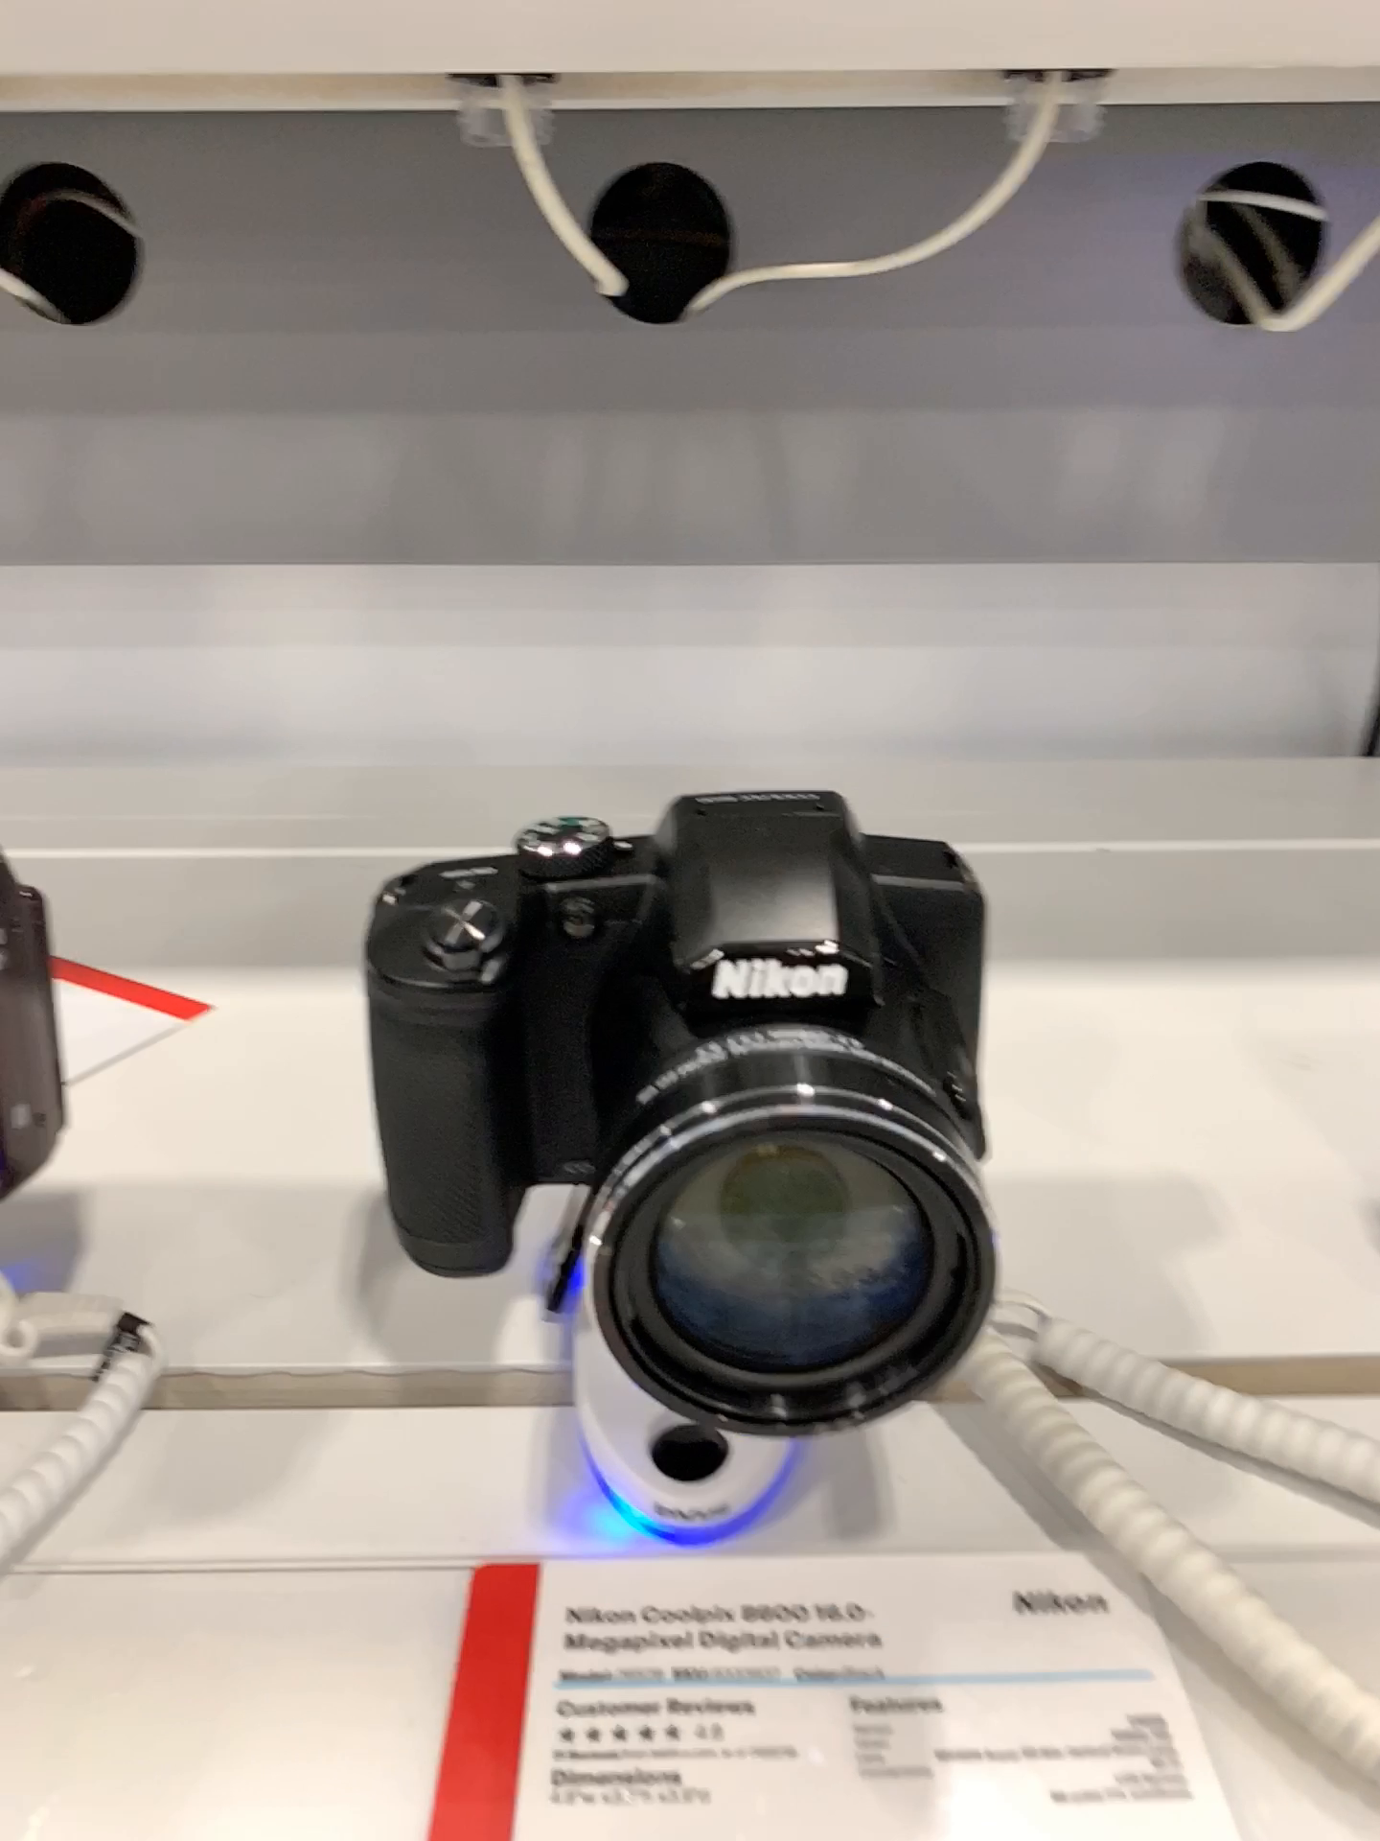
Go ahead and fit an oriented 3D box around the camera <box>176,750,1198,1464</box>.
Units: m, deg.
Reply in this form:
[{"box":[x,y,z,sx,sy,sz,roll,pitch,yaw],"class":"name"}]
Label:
[{"box":[-0.002,0.022,0.245,0.130,0.070,0.111,-2,23,-3],"class":"camera"}]
